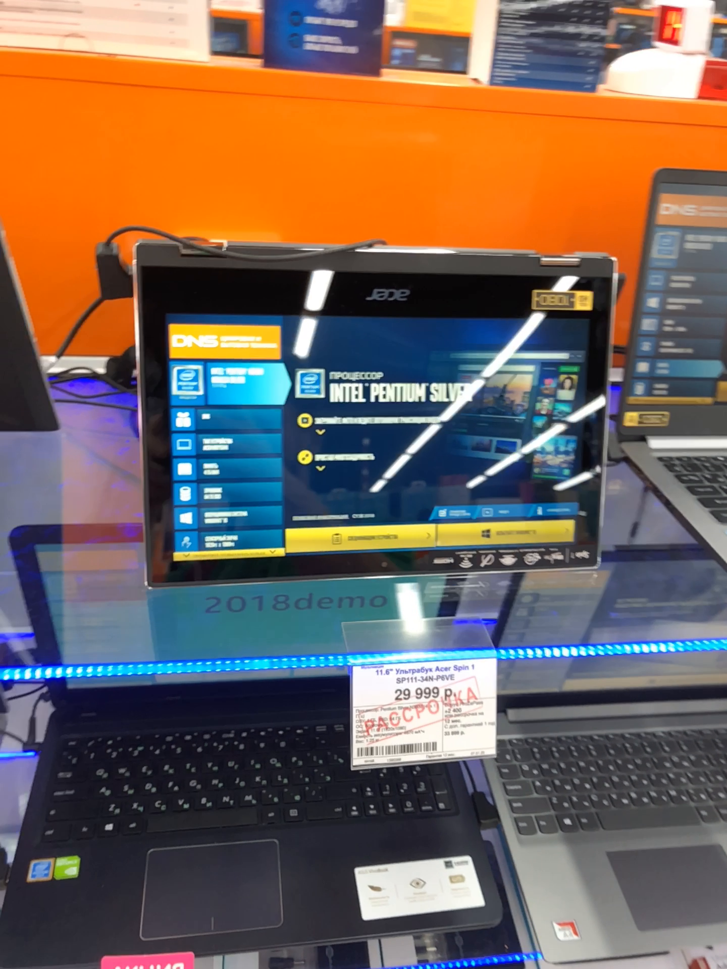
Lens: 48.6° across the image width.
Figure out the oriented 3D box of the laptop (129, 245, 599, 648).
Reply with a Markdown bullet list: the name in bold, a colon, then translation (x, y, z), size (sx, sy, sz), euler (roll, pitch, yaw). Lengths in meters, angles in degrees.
- **laptop**: translation (-0.014, 0.002, 0.599), size (0.277, 0.142, 0.181), euler (0, -8, -7)

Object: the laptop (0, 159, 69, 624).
- **laptop**: translation (-0.391, -0.022, 0.556), size (0.299, 0.149, 0.182), euler (0, -6, -11)

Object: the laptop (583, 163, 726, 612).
- **laptop**: translation (0.400, -0.086, 0.588), size (0.350, 0.209, 0.273), euler (-1, 31, -12)

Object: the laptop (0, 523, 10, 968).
- **laptop**: translation (-0.489, 0.189, 0.560), size (0.363, 0.202, 0.223), euler (-1, 33, -8)

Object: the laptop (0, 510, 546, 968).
- **laptop**: translation (-0.088, 0.177, 0.628), size (0.360, 0.222, 0.240), euler (0, 30, -10)
